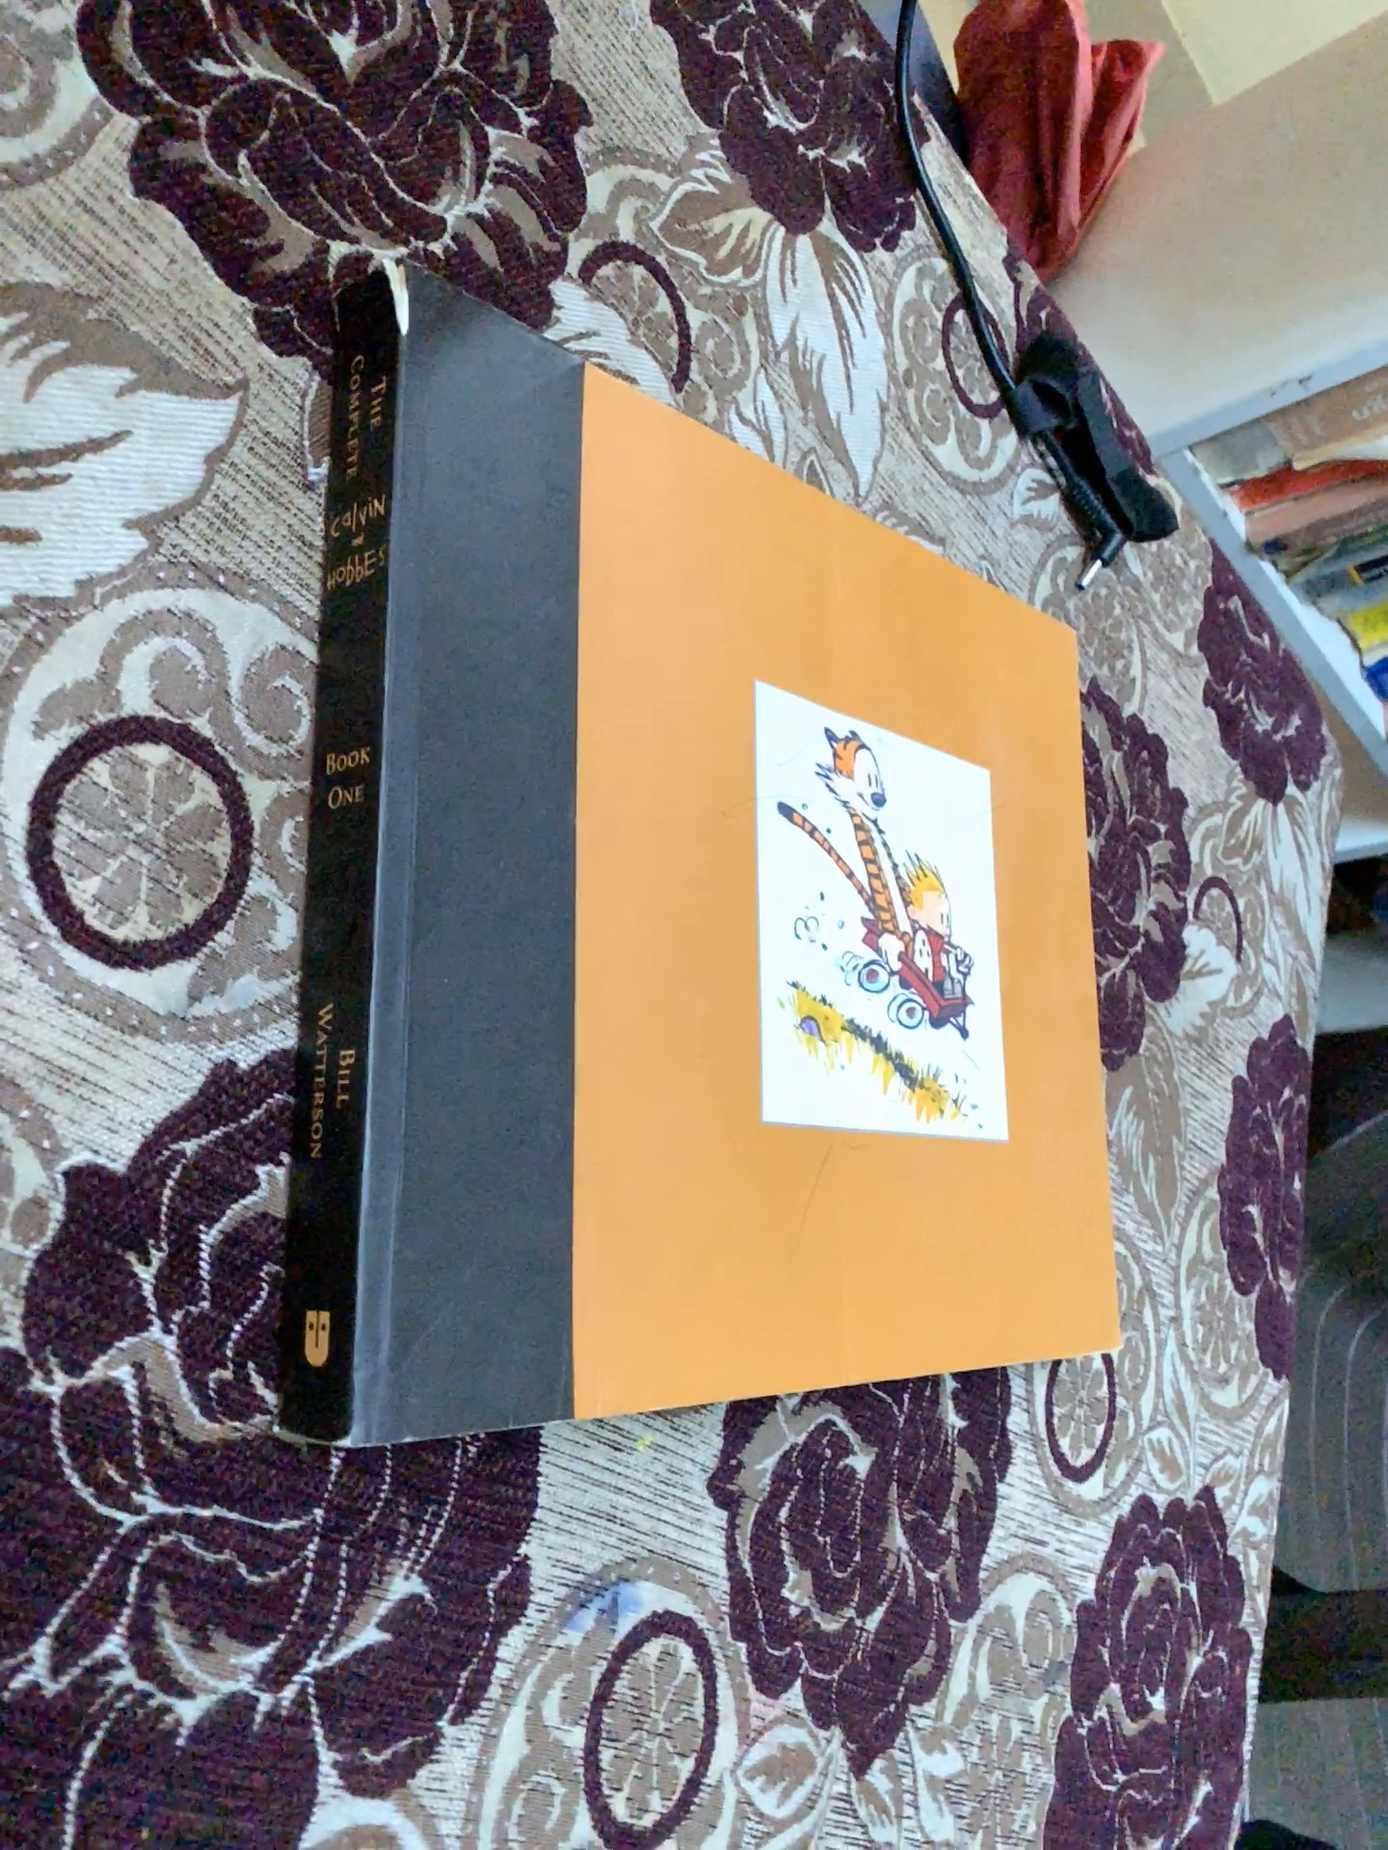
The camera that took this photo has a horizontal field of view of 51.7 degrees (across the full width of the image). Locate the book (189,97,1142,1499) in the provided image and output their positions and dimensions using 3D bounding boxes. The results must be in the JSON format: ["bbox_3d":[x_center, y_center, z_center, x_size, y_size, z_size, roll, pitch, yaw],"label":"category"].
[{"bbox_3d":[0.017,-0.015,0.362,0.271,0.040,0.260,11,72,-44],"label":"book"}]
